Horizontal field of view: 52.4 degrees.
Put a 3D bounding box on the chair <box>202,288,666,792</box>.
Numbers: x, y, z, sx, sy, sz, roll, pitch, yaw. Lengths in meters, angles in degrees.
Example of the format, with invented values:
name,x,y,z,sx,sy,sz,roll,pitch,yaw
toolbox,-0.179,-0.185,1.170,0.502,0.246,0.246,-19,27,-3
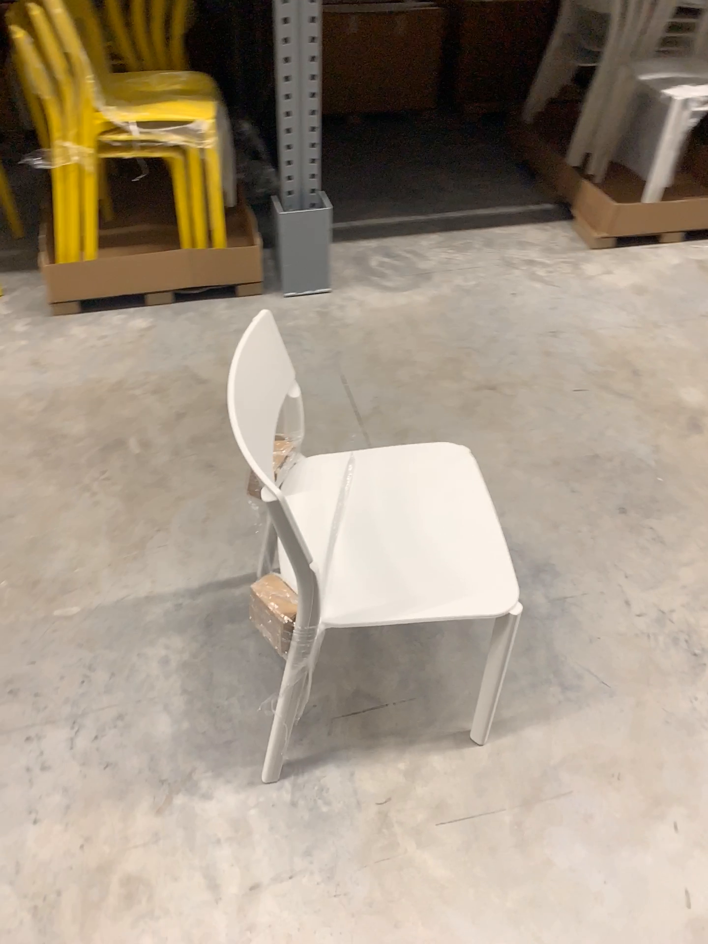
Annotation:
name,x,y,z,sx,sy,sz,roll,pitch,yaw
chair,0.051,0.116,1.208,0.530,0.618,0.522,-5,46,-8
